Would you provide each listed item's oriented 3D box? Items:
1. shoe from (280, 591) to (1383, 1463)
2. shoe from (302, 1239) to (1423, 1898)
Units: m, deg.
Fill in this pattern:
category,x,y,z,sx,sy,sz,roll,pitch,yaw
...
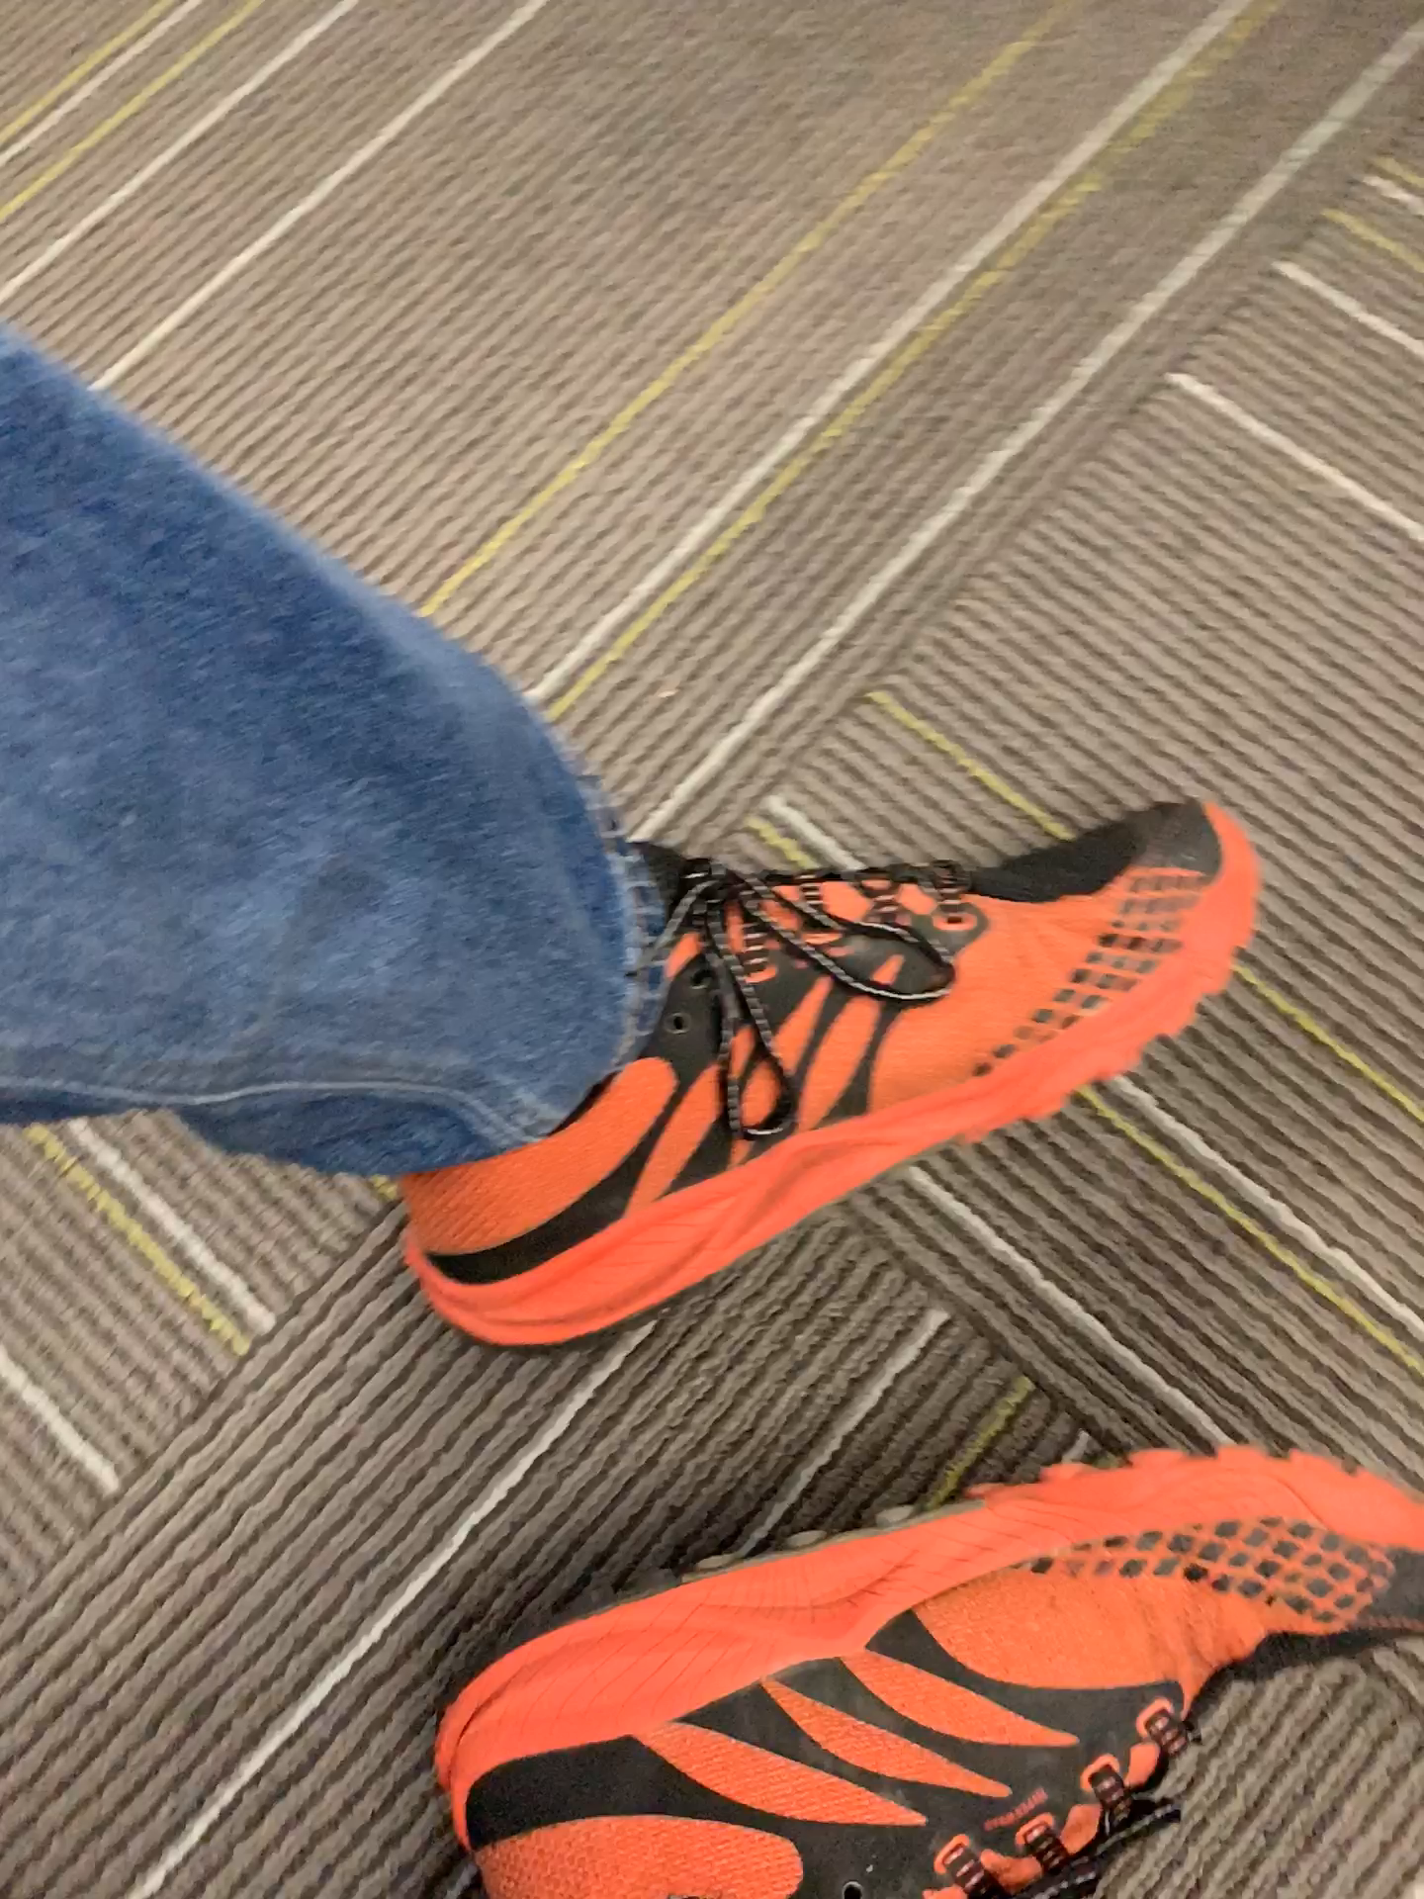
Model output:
category,x,y,z,sx,sy,sz,roll,pitch,yaw
shoe,0.030,0.011,0.466,0.307,0.128,0.108,-27,115,-5
shoe,0.069,0.207,0.413,0.317,0.138,0.108,-18,56,-2
